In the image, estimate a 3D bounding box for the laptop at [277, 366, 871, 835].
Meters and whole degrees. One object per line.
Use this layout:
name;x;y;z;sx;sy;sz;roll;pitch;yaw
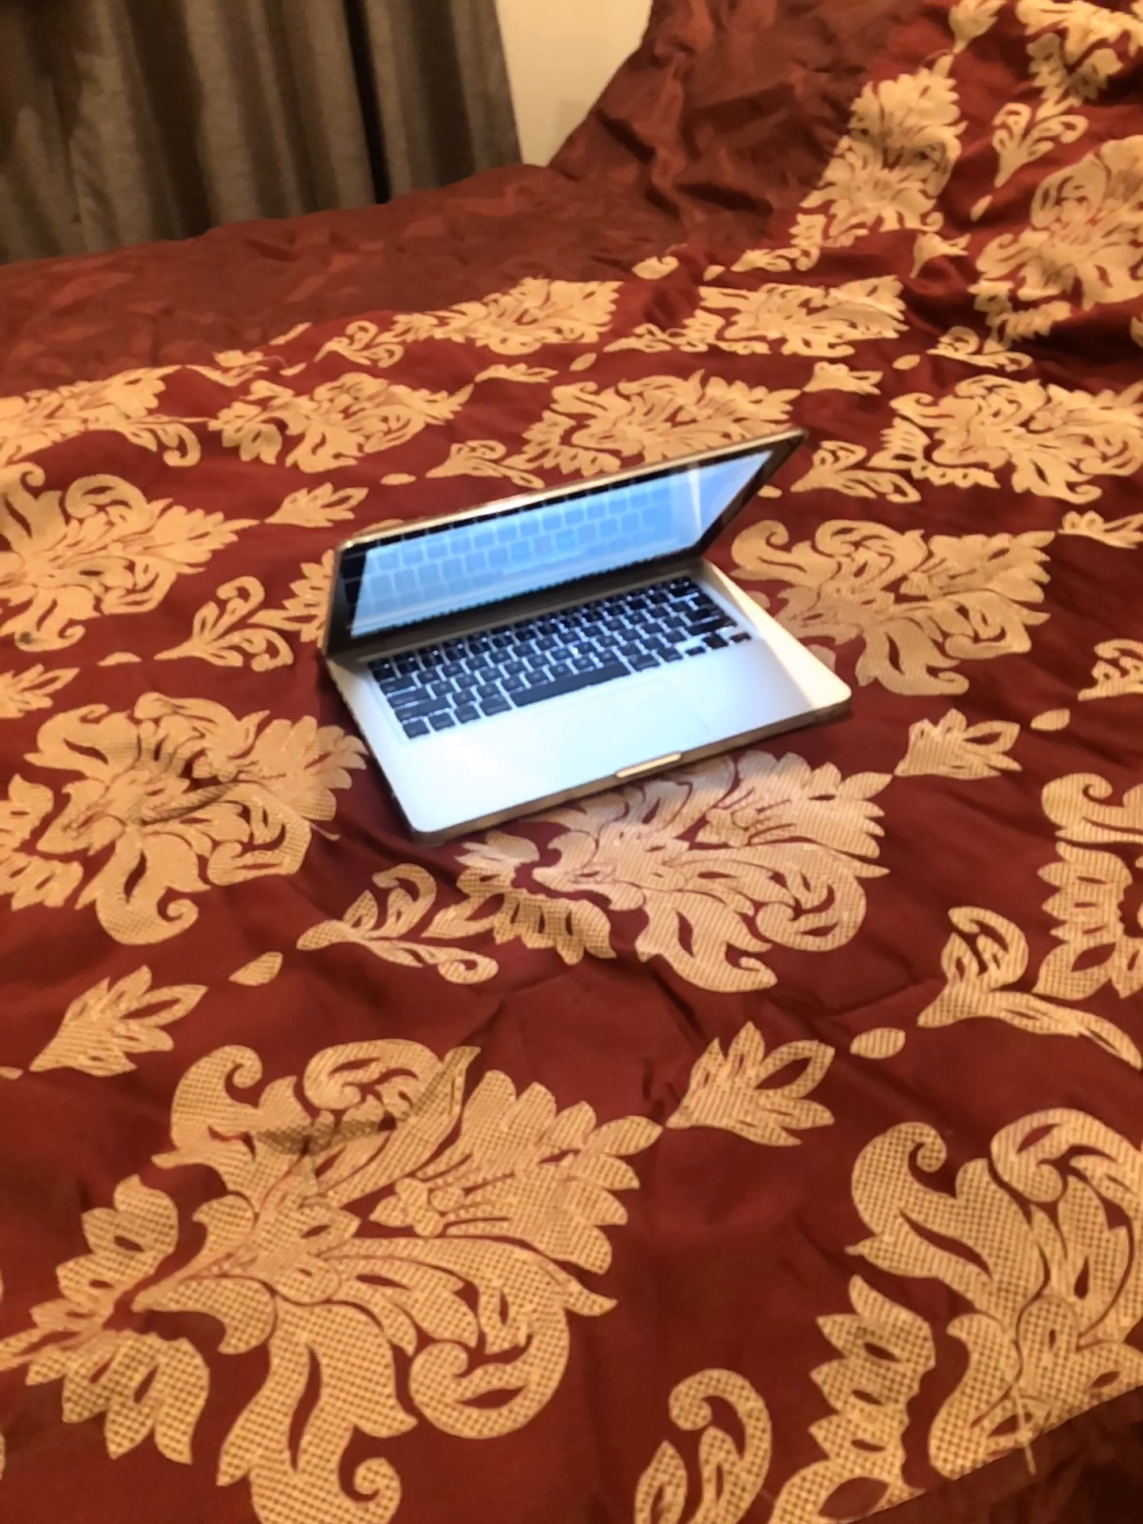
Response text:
laptop;0.000;-0.121;0.822;0.312;0.156;0.213;-18;40;-18
